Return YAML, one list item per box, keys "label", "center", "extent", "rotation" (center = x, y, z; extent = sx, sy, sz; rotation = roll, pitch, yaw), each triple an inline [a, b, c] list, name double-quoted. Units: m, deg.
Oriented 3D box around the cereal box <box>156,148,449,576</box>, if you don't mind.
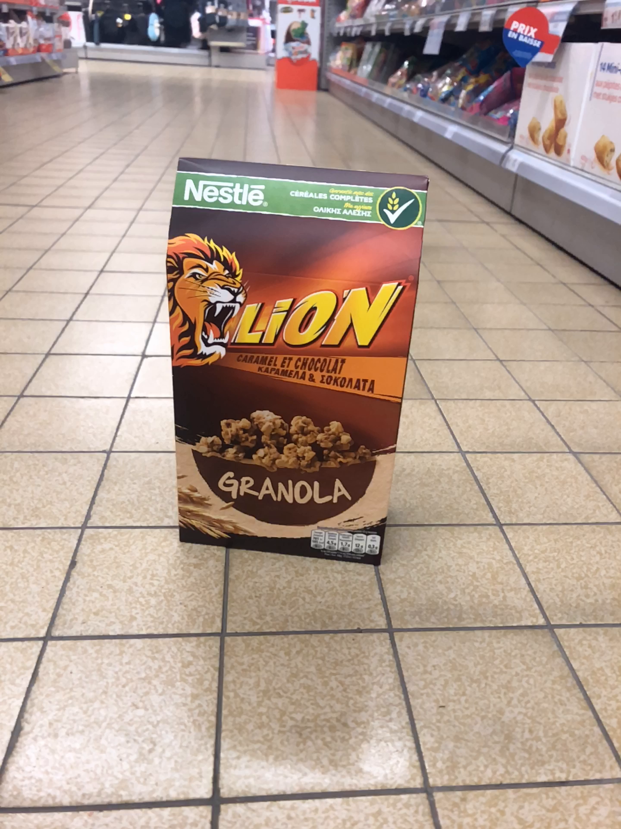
- label: "cereal box"
  center: [-0.007, -0.029, 0.439]
  extent: [0.150, 0.249, 0.081]
  rotation: [6, 28, 5]
